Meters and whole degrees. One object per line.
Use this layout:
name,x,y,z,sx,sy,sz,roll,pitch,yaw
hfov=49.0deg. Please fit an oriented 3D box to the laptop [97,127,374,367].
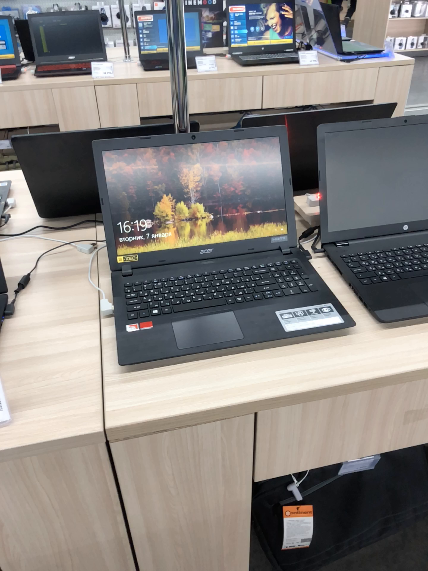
laptop,0.004,-0.098,0.813,0.373,0.208,0.369,-8,36,-10

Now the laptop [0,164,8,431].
laptop,-0.517,-0.007,0.691,0.306,0.214,0.302,-7,36,-9

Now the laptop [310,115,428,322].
laptop,0.415,-0.149,0.869,0.377,0.212,0.339,-7,35,-9
